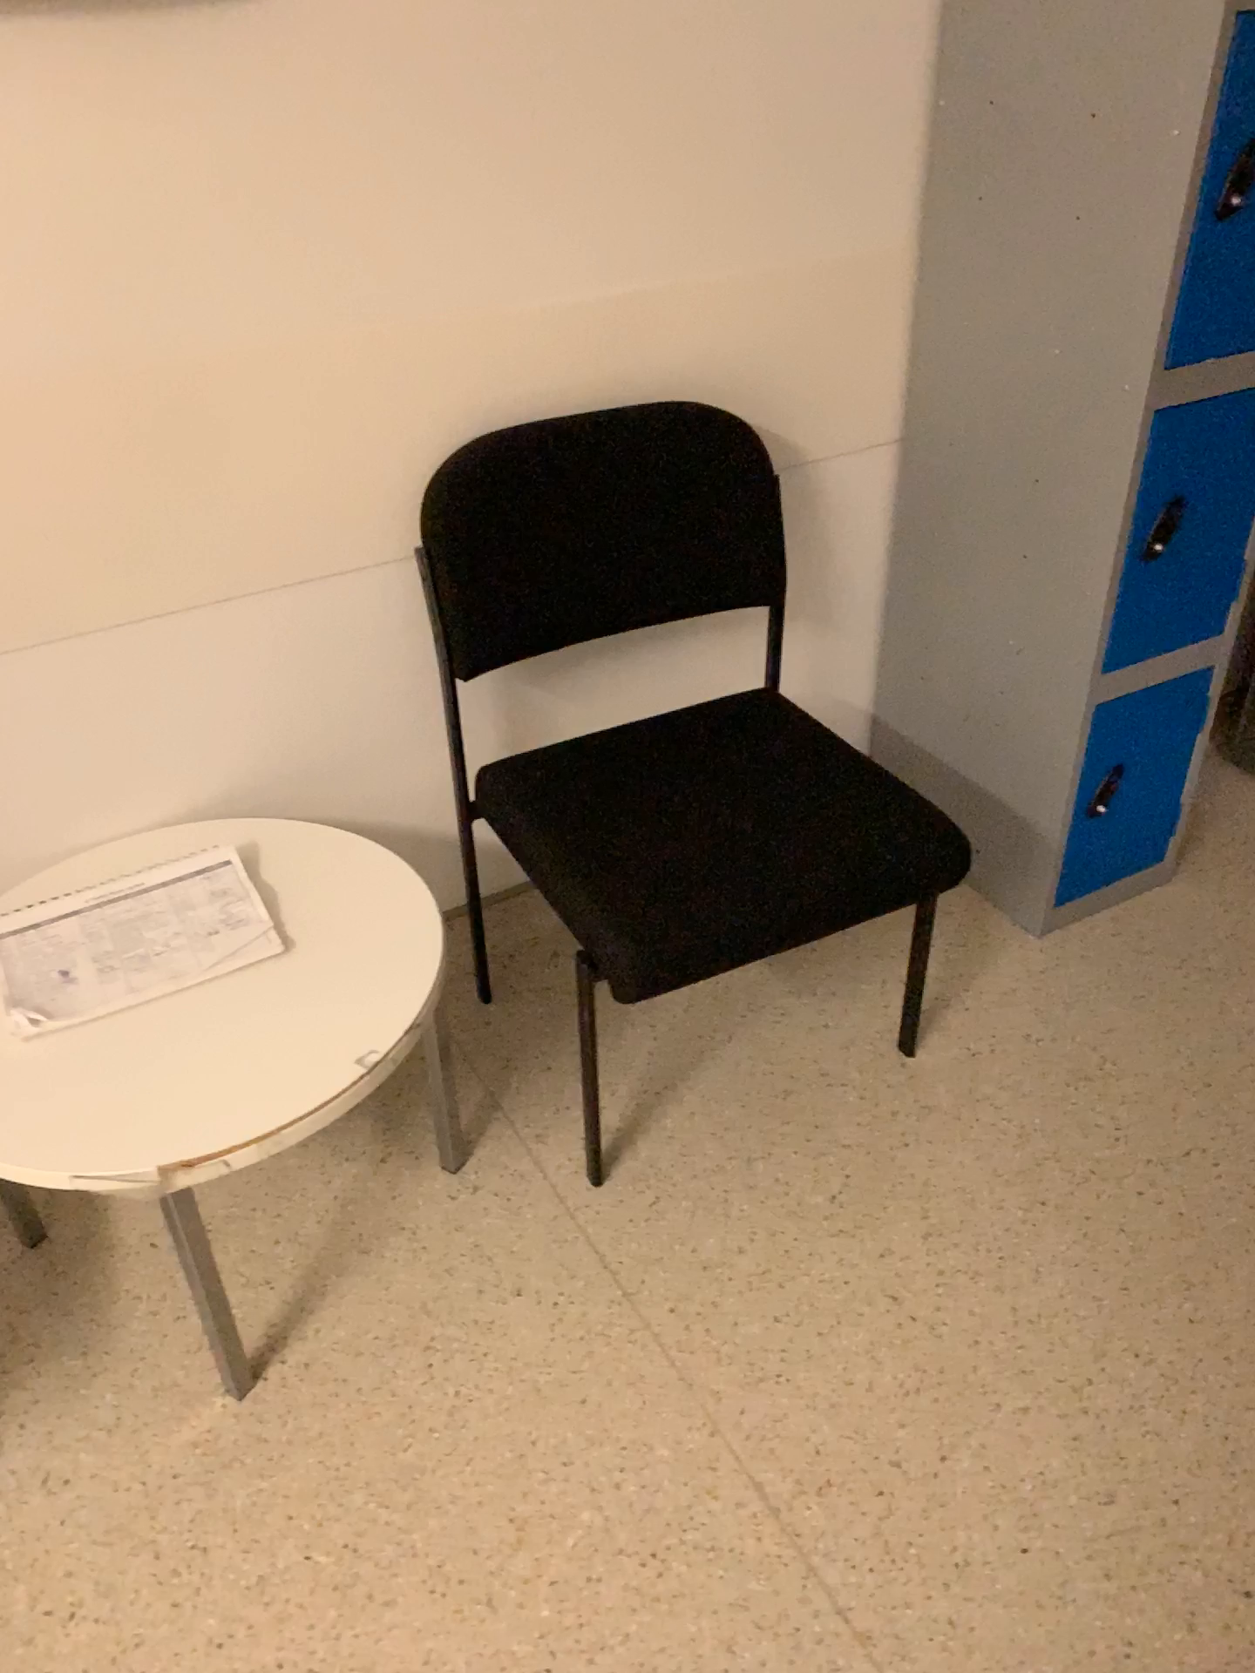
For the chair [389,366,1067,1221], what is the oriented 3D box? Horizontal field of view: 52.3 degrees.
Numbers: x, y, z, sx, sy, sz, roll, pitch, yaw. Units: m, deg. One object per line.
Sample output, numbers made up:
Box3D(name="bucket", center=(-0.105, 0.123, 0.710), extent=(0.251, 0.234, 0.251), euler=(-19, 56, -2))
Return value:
Box3D(name="chair", center=(0.090, -0.080, 1.645), extent=(0.551, 0.823, 0.554), euler=(-16, 37, -20))
